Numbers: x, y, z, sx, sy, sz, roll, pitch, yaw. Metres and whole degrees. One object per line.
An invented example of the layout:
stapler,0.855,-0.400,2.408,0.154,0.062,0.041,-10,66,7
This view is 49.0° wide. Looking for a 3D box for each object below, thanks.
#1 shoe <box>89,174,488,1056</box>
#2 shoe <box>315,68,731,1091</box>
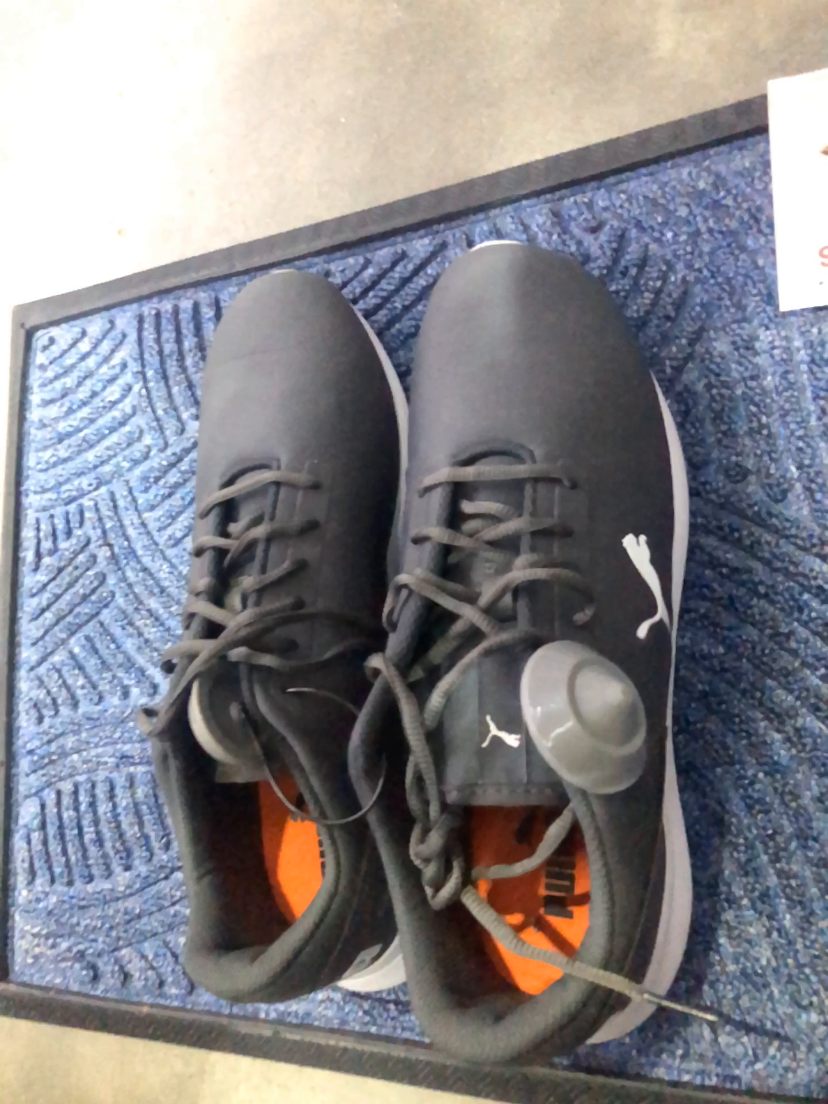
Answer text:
shoe,-0.052,0.023,0.375,0.110,0.100,0.300,-9,79,24
shoe,0.039,0.006,0.330,0.100,0.100,0.300,-8,80,25
